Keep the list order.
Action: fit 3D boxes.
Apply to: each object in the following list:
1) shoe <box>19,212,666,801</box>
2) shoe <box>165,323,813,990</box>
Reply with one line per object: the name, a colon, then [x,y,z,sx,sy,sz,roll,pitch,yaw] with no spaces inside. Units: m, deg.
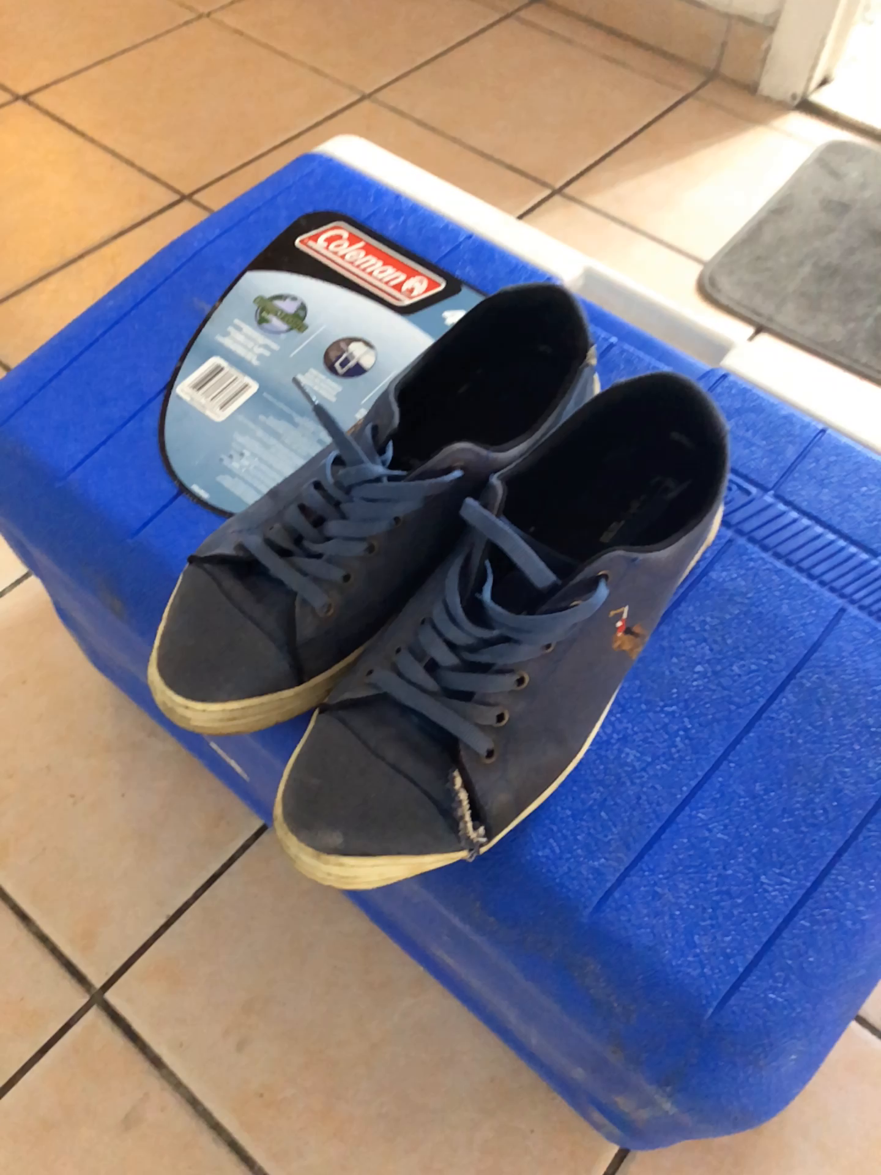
shoe: [-0.032,-0.045,0.447,0.271,0.089,0.107,-40,65,-18]
shoe: [0.032,0.016,0.414,0.107,0.089,0.271,35,63,21]
